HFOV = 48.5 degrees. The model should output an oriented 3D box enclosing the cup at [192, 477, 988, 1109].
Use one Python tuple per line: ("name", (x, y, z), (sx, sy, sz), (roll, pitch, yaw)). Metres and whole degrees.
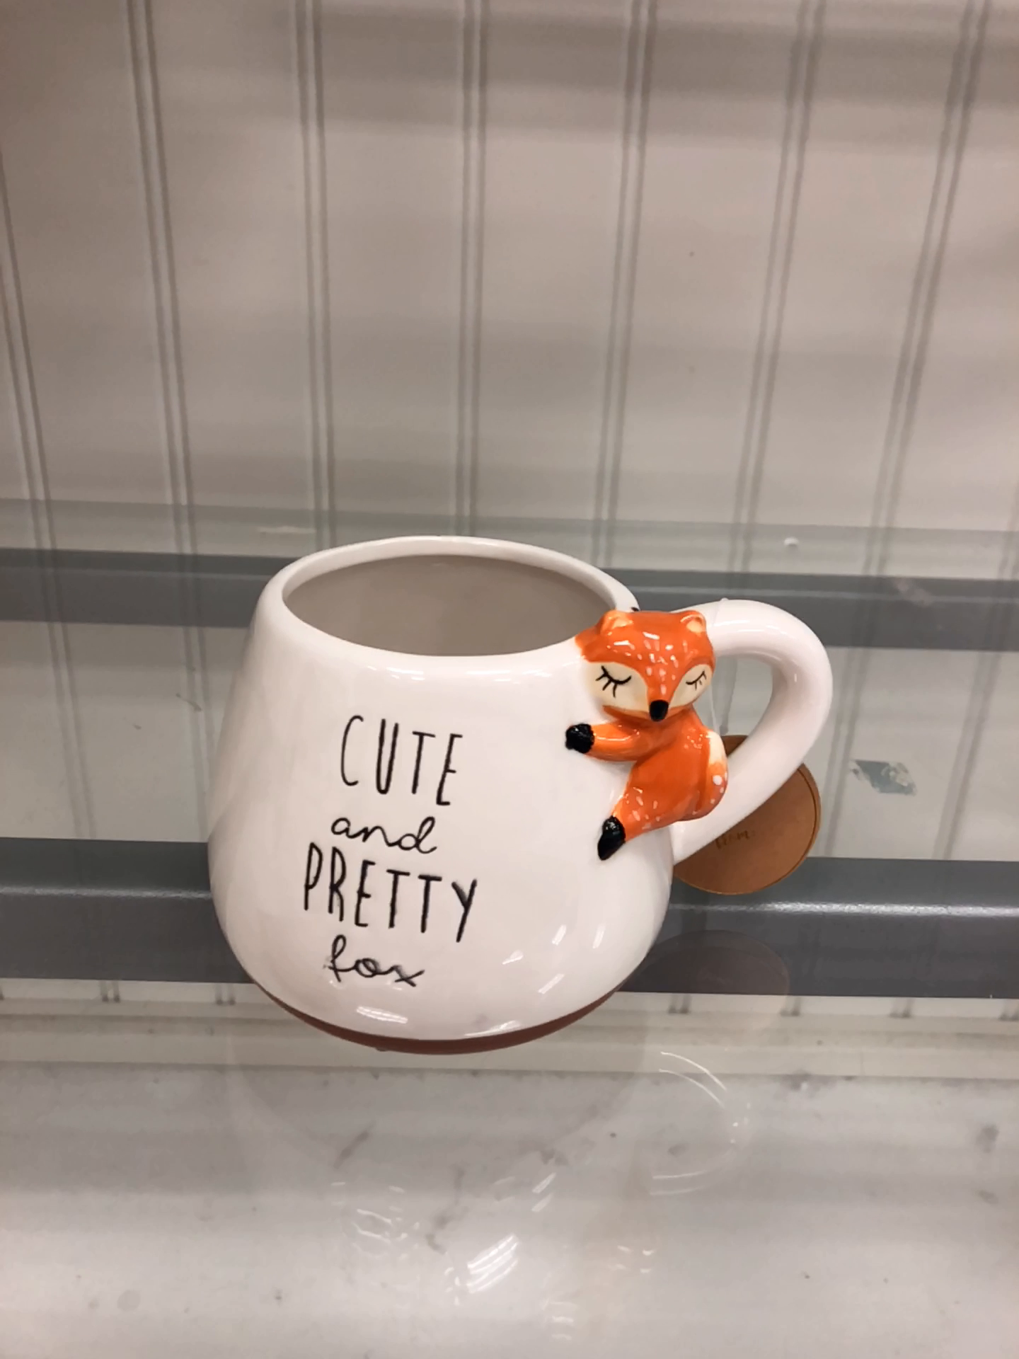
("cup", (0.006, 0.014, 0.256), (0.143, 0.089, 0.101), (-4, 26, -14))
